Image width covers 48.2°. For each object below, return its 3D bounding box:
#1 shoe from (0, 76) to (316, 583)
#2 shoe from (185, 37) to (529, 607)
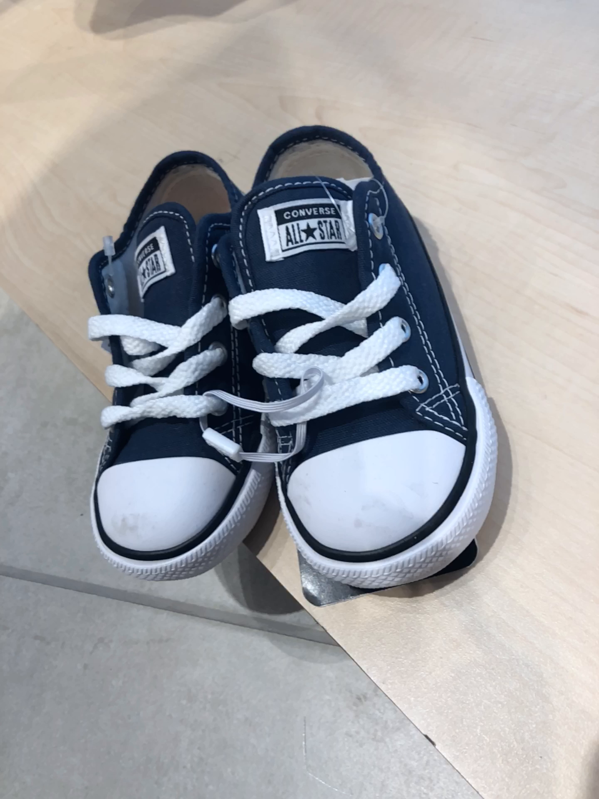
[{"bbox_3d":[-0.049,-0.026,0.248,0.080,0.060,0.171,-5,62,22],"label":"shoe"},{"bbox_3d":[0.013,-0.028,0.225,0.080,0.060,0.171,-14,59,17],"label":"shoe"}]
